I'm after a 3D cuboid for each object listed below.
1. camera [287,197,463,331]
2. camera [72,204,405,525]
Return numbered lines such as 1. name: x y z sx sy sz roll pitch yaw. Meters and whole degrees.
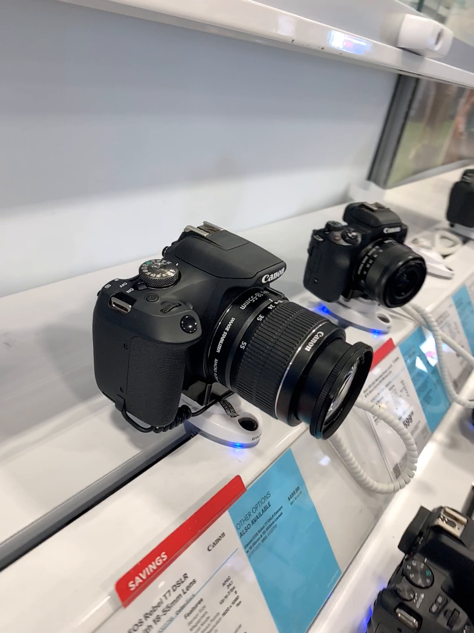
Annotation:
1. camera: 0.136 -0.059 0.490 0.121 0.080 0.103 -18 41 -40
2. camera: -0.003 0.012 0.298 0.141 0.099 0.126 29 34 28
